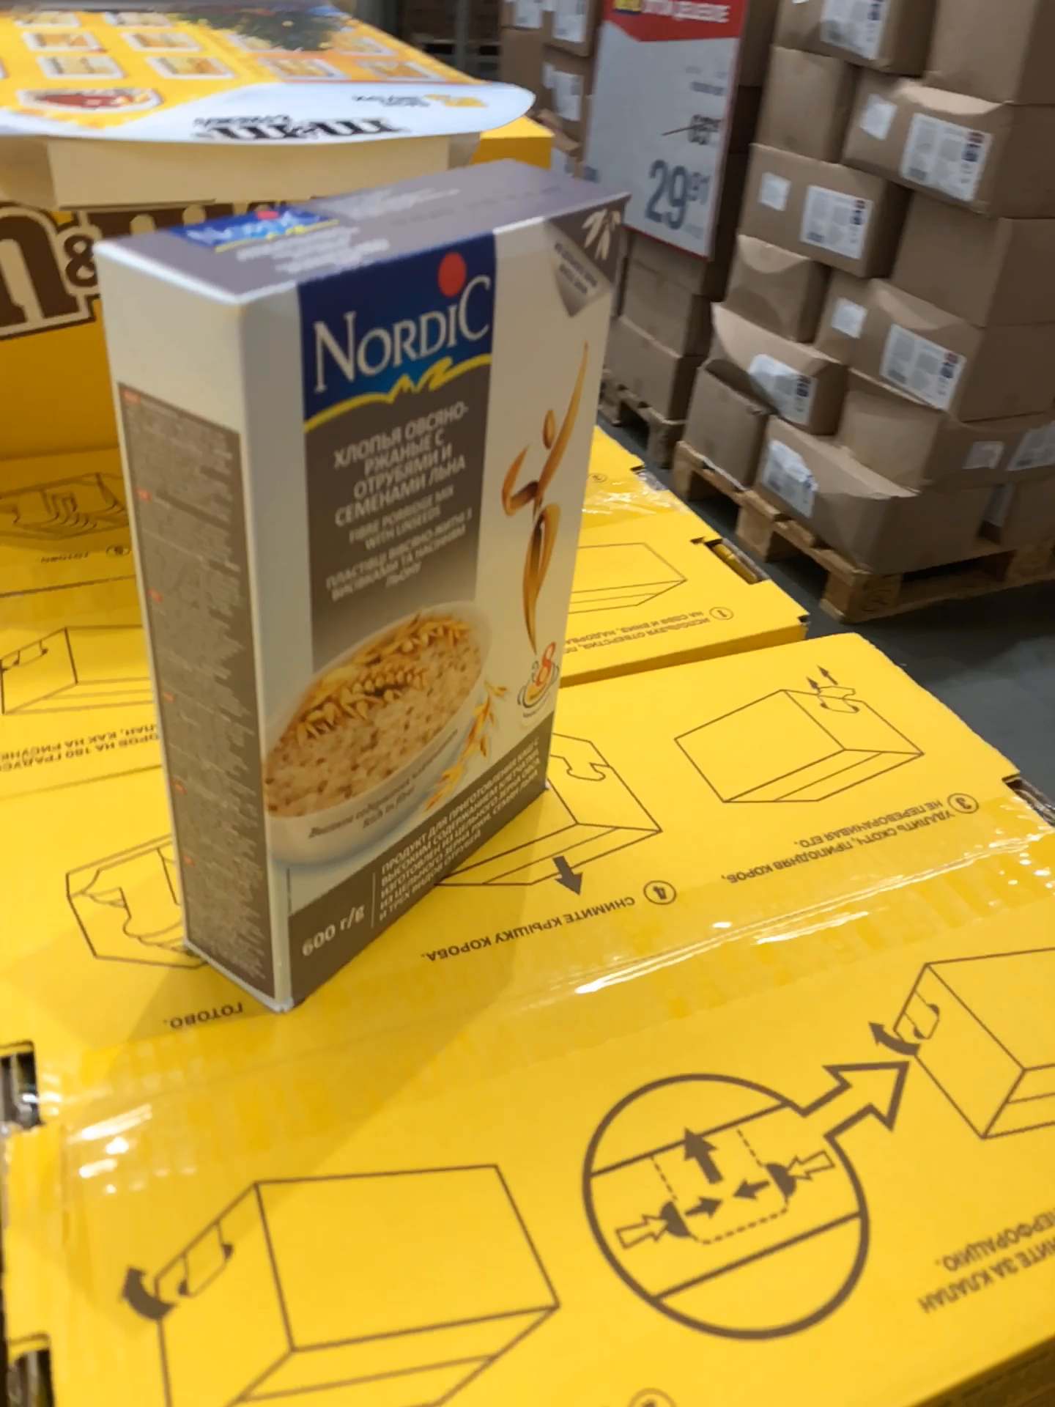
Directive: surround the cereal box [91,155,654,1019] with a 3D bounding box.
[{"bbox_3d":[-0.039,-0.035,0.350,0.050,0.218,0.151,27,40,26],"label":"cereal box"}]
